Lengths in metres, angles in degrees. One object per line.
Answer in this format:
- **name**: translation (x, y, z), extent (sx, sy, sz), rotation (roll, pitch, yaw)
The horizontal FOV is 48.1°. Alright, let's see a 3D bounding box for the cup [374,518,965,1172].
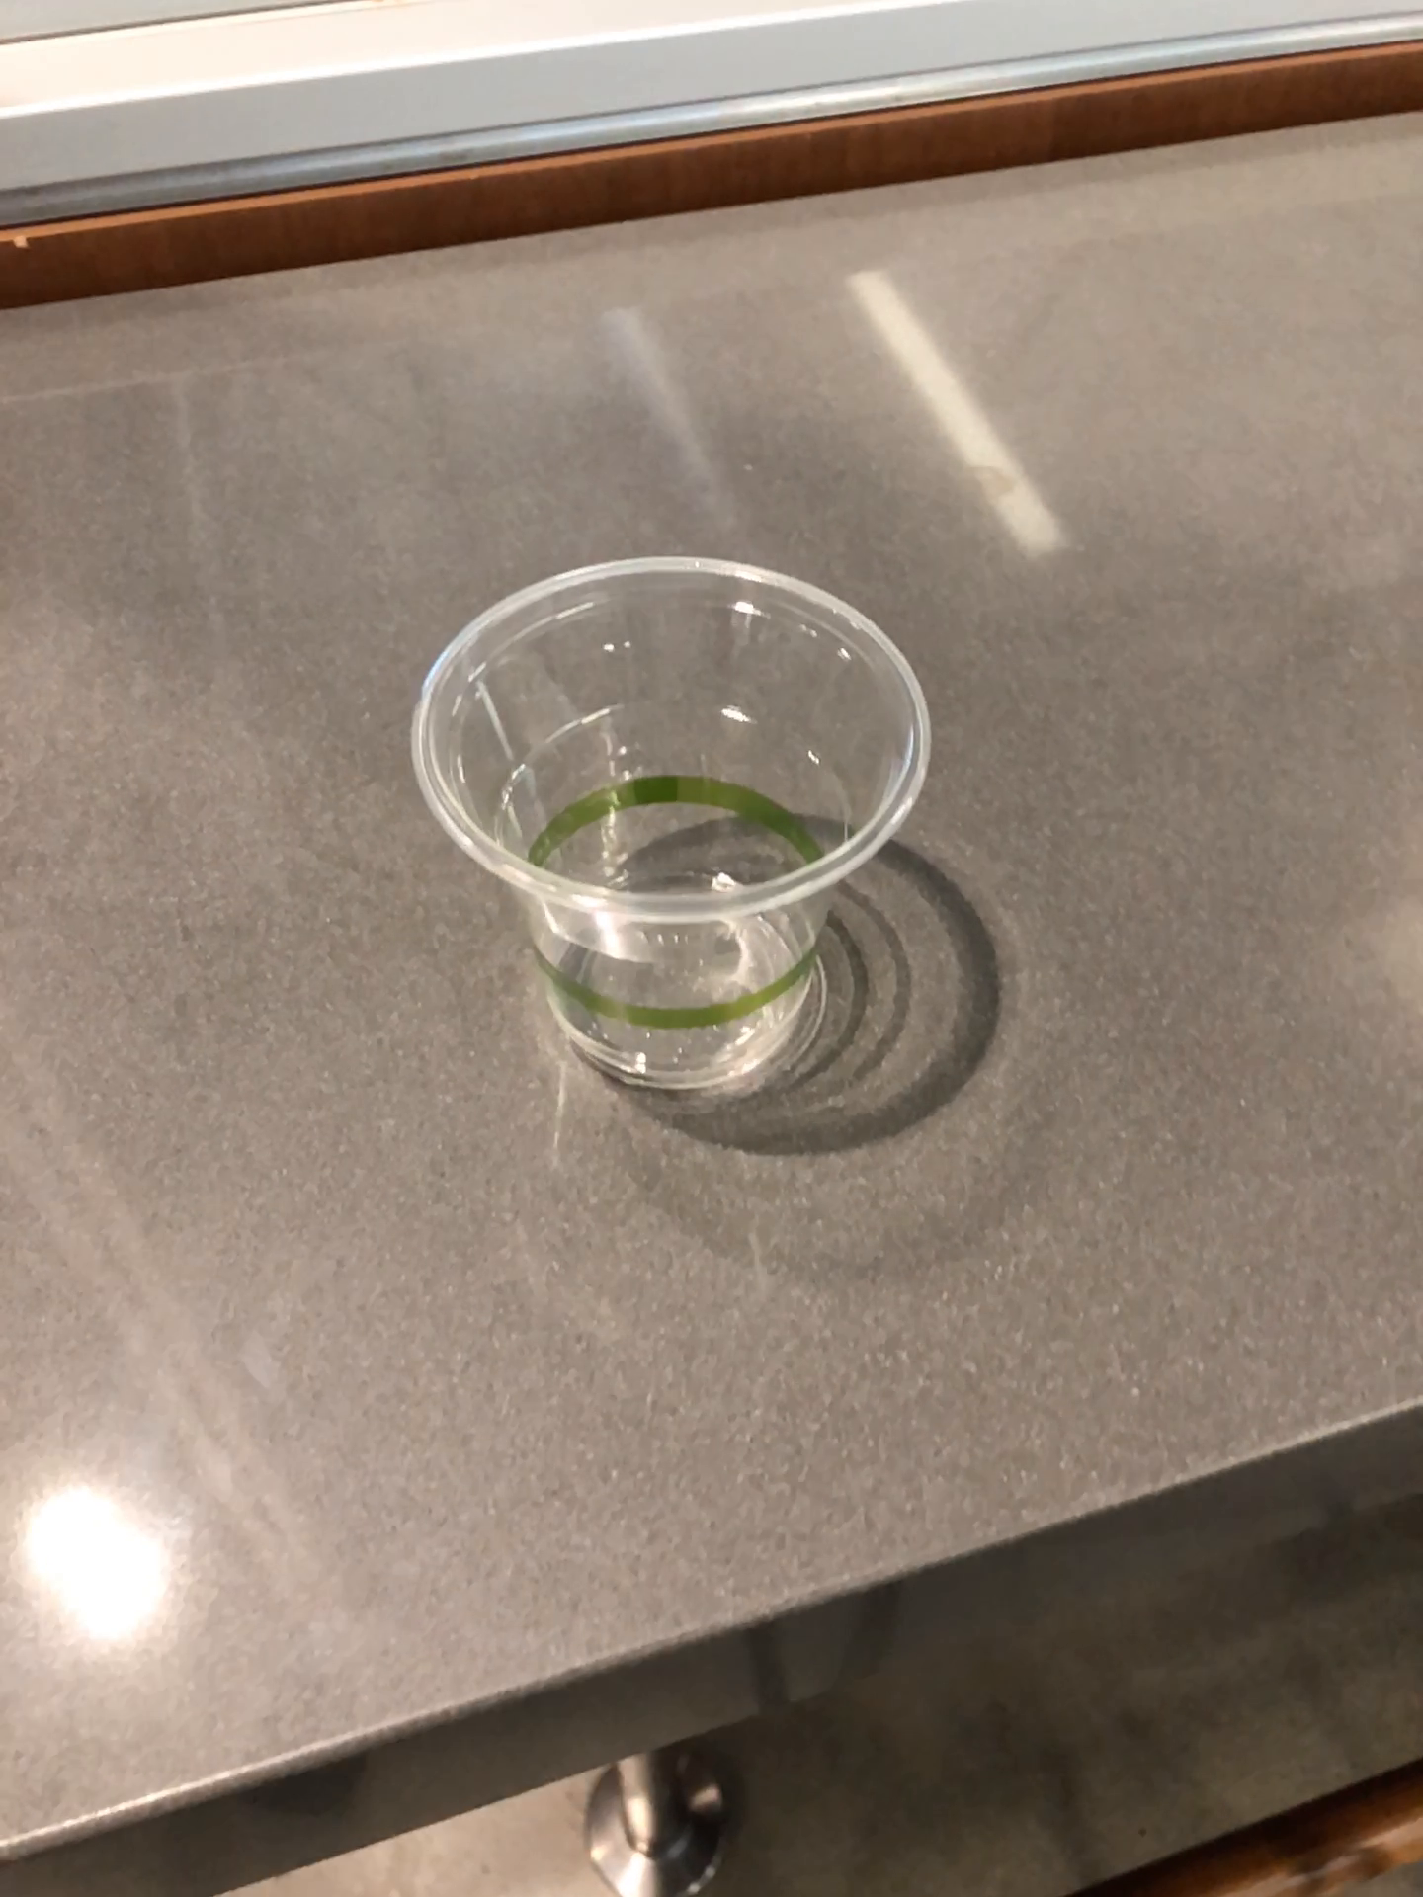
- **cup**: translation (-0.002, -0.017, 0.243), extent (0.070, 0.060, 0.070), rotation (0, 49, 0)
